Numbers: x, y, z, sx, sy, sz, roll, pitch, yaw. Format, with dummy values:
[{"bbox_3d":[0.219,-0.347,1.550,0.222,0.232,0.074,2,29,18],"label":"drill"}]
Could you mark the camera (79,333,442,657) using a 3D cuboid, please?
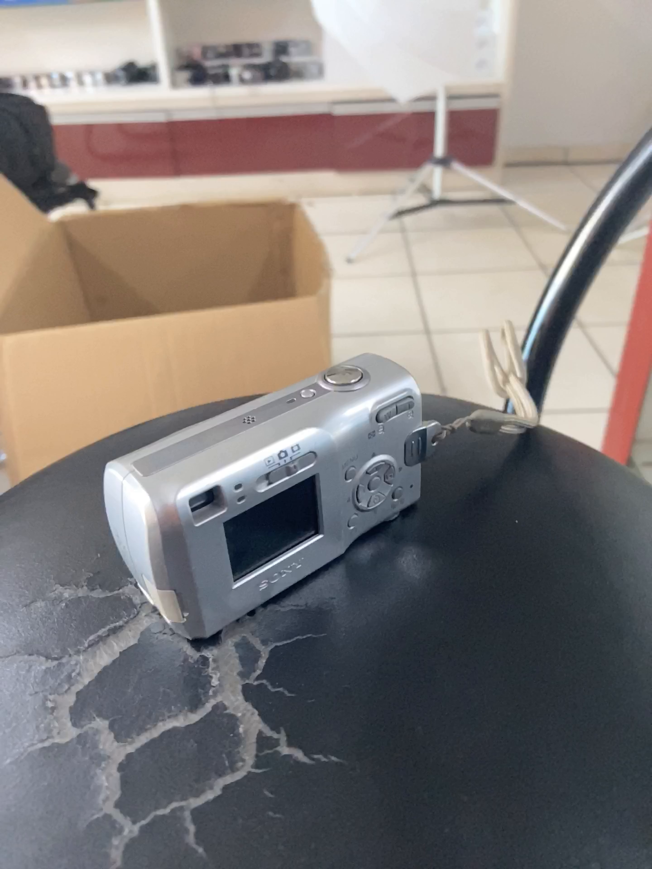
[{"bbox_3d":[-0.015,0.013,0.212,0.100,0.050,0.040,-26,41,-29],"label":"camera"}]
